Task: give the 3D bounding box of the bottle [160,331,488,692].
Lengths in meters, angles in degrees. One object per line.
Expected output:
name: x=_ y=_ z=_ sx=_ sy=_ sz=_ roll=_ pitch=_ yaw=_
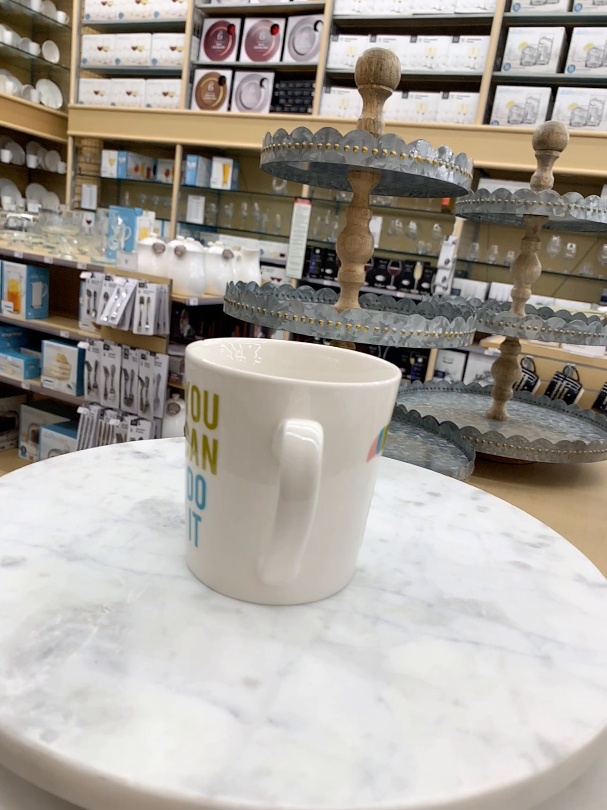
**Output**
bottle: x=-0.006 y=0.036 z=0.289 sx=0.104 sy=0.107 sz=0.143 roll=5 pitch=15 yaw=-12
